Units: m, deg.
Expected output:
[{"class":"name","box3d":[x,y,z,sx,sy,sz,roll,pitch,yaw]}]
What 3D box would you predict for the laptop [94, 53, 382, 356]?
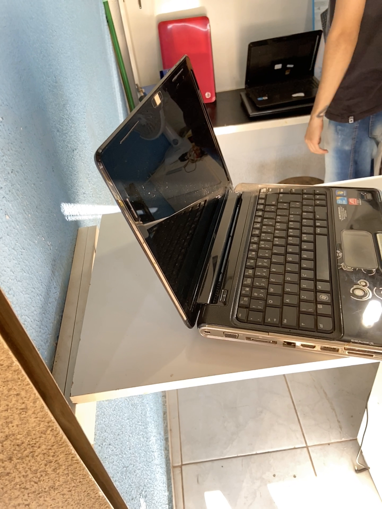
[{"class":"laptop","box3d":[0.112,-0.091,0.490,0.301,0.211,0.323,4,40,14]}]
